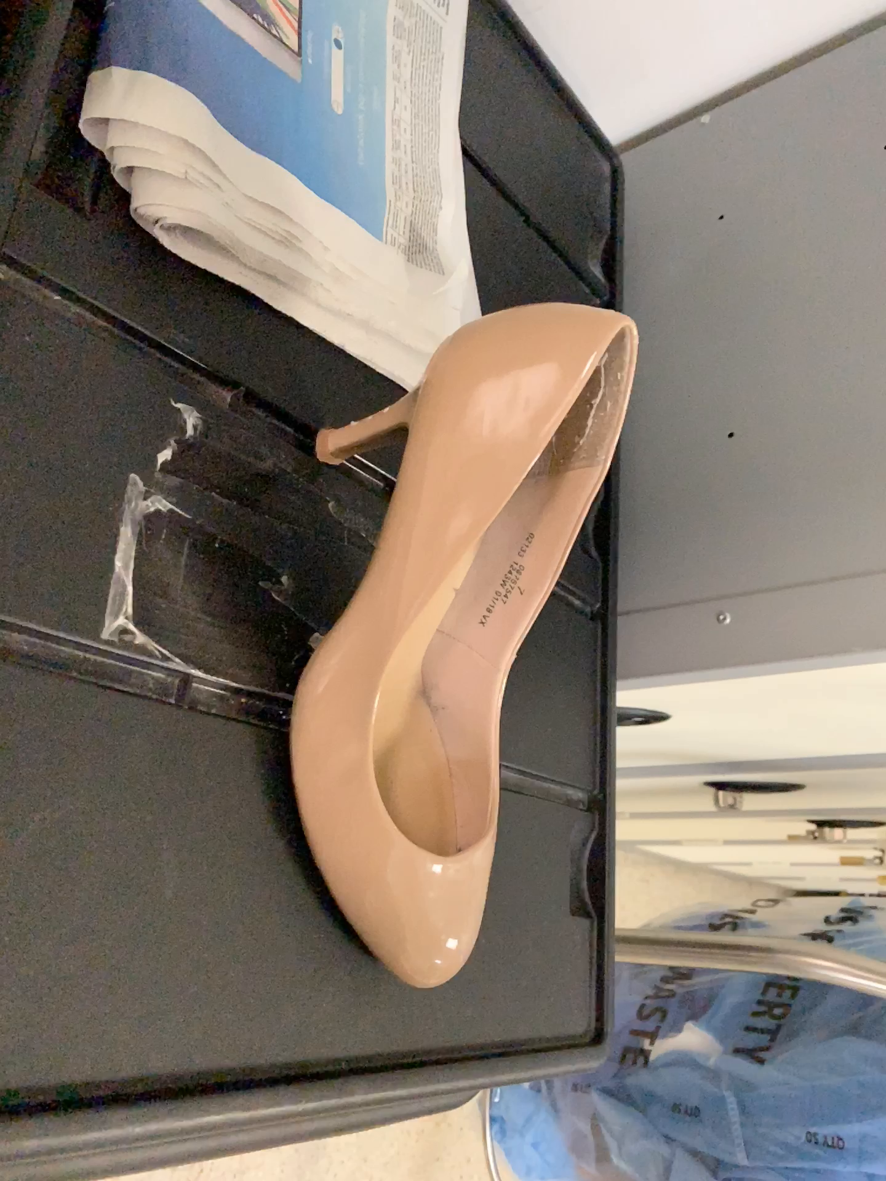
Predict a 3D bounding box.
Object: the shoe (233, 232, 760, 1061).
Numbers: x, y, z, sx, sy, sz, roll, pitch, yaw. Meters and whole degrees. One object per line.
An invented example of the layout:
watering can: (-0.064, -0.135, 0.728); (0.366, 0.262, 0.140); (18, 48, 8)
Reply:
shoe: (0.014, 0.022, 0.341); (0.097, 0.140, 0.239); (4, 77, -53)
